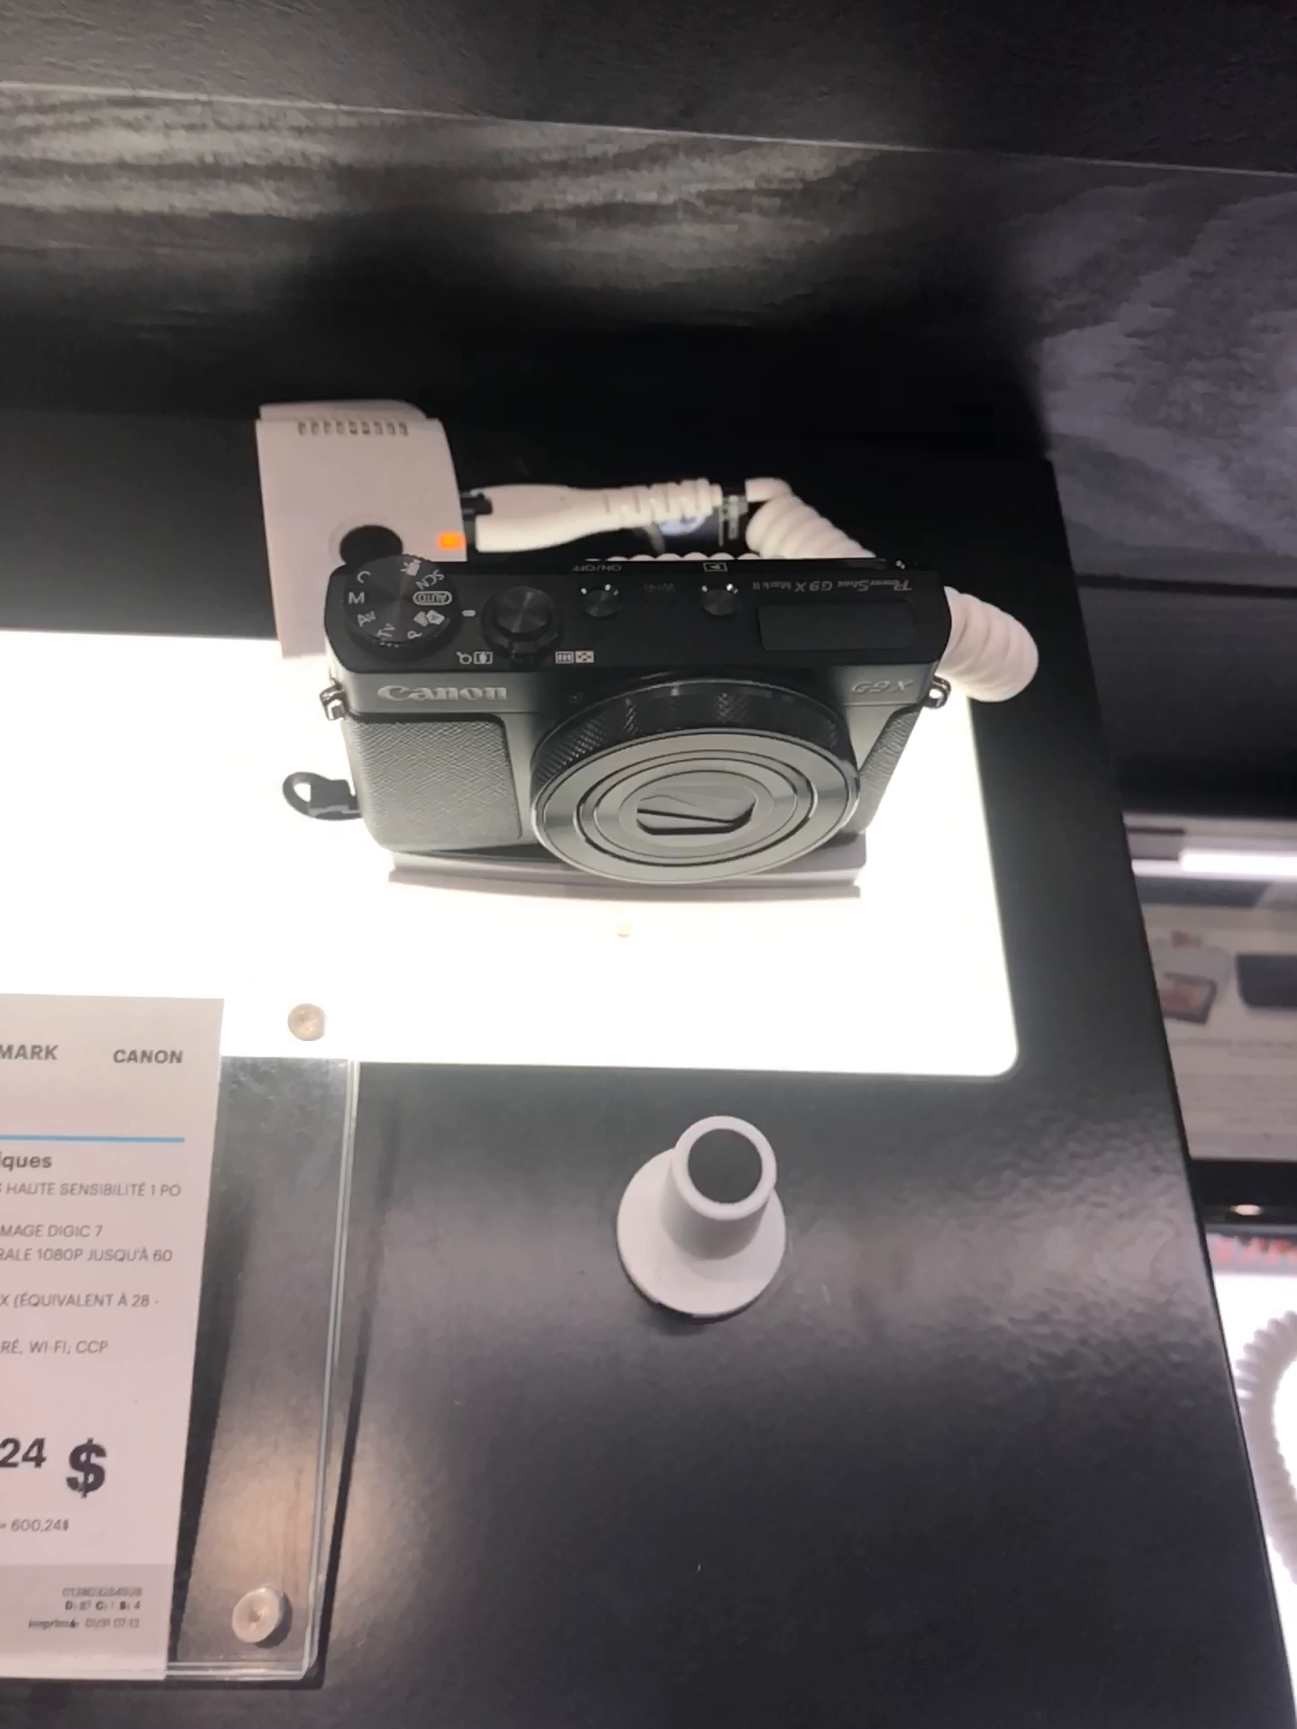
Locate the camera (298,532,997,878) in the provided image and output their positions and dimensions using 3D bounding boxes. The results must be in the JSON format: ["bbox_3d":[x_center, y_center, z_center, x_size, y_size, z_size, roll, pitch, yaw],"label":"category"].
[{"bbox_3d":[-0.002,-0.025,0.237,0.100,0.059,0.025,-2,59,-7],"label":"camera"}]
